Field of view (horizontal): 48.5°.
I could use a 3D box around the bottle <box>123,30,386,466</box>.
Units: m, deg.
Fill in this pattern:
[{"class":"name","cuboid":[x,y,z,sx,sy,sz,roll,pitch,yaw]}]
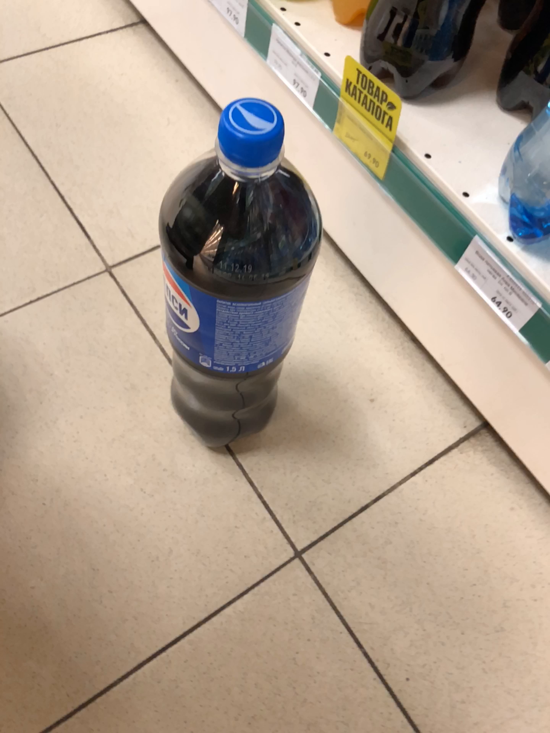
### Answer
[{"class":"bottle","cuboid":[-0.030,-0.041,0.410,0.085,0.316,0.089,3,62,-6]}]
